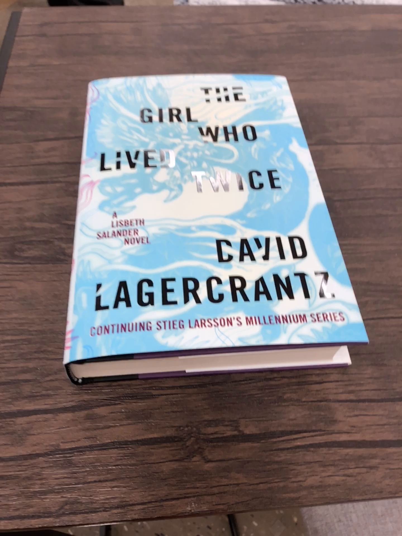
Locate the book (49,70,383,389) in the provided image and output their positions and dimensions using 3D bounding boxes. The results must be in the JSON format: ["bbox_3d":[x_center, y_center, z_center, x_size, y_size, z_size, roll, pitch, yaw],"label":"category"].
[{"bbox_3d":[0.000,-0.046,0.310,0.170,0.040,0.241,-3,57,-4],"label":"book"}]
